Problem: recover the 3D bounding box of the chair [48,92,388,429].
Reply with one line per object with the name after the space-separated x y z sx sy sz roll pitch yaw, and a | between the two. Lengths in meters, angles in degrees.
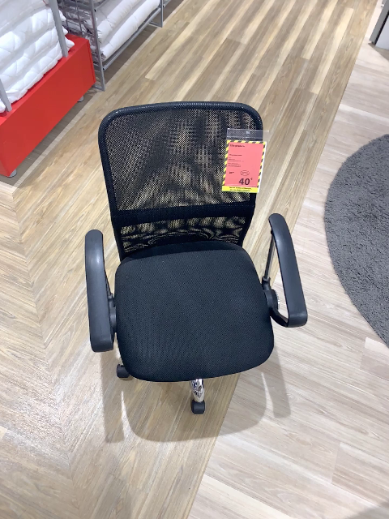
0.017 0.076 1.189 0.640 0.867 0.602 -4 59 -7 | chair
